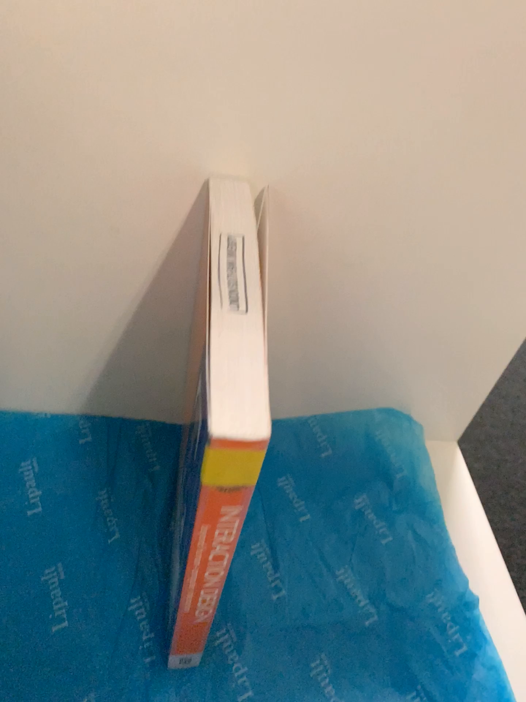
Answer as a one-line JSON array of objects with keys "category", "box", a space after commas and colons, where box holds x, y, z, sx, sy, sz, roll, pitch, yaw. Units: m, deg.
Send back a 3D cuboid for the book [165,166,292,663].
[{"category": "book", "box": [-0.035, 0.047, 0.342, 0.030, 0.248, 0.196, 4, 43, -11]}]
